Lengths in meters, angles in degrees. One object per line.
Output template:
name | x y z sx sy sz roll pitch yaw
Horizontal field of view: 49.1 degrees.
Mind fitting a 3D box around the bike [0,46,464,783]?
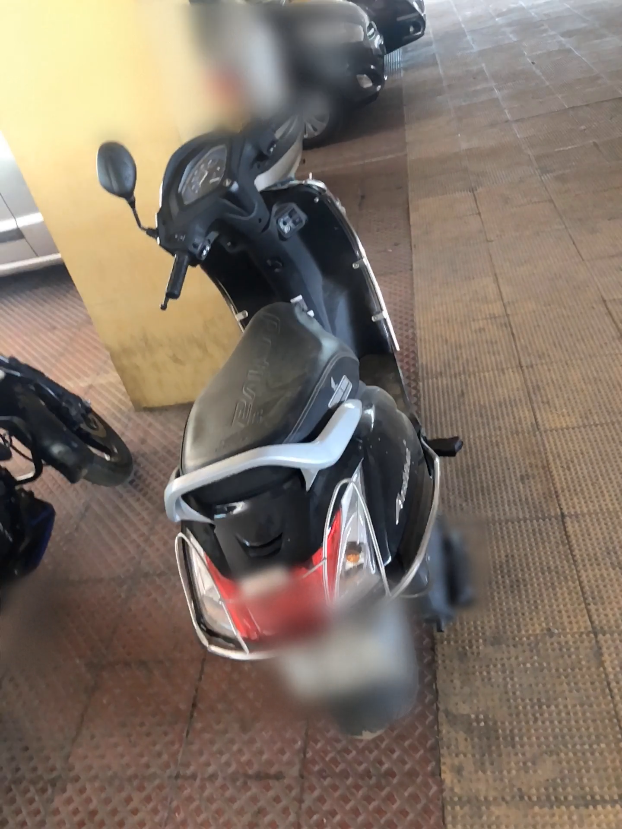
bike | -0.211 -0.112 1.800 0.607 1.172 1.449 -16 37 1
